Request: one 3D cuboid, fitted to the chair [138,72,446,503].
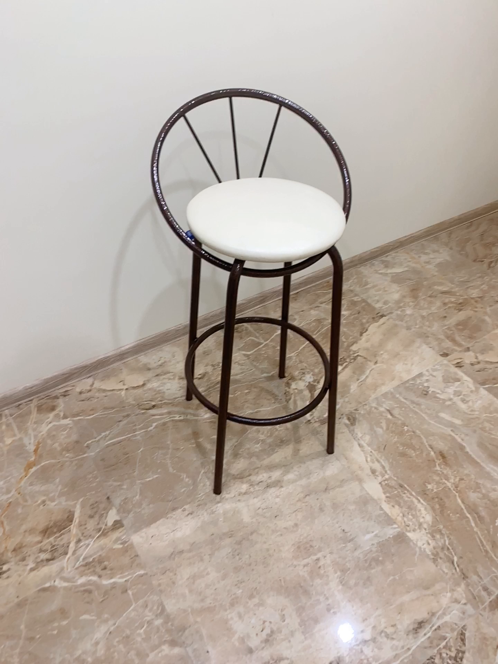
[{"bbox_3d":[0.039,-0.070,1.158,0.400,0.835,0.402,-14,44,-18],"label":"chair"}]
